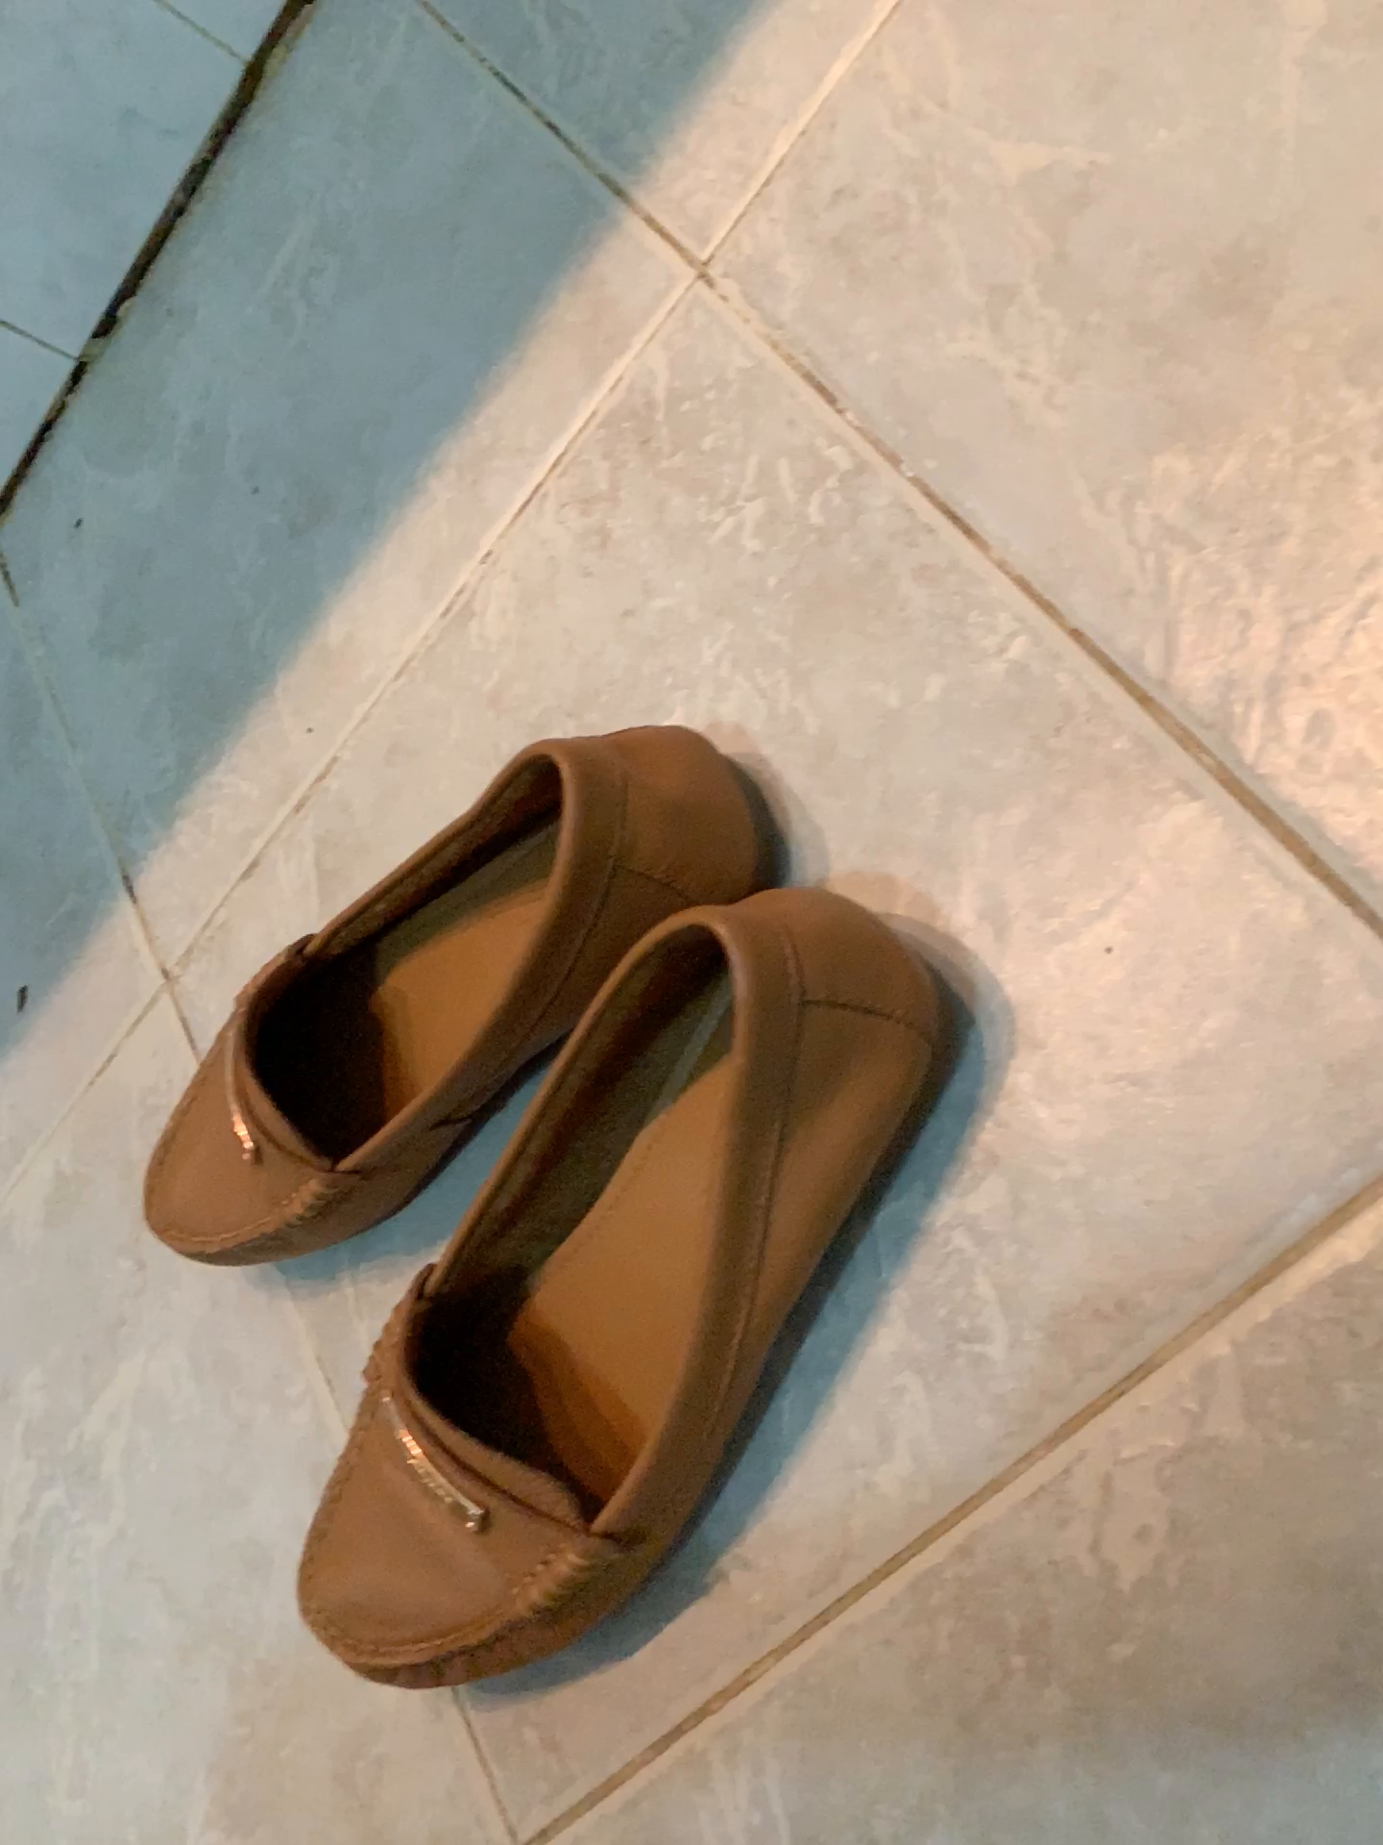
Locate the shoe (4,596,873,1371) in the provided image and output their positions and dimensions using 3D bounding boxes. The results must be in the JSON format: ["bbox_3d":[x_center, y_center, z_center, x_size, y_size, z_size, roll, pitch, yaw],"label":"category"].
[{"bbox_3d":[-0.082,0.032,0.371,0.244,0.071,0.083,-35,61,29],"label":"shoe"}]

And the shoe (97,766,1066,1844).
[{"bbox_3d":[-0.035,0.096,0.317,0.085,0.071,0.243,44,109,36],"label":"shoe"}]
